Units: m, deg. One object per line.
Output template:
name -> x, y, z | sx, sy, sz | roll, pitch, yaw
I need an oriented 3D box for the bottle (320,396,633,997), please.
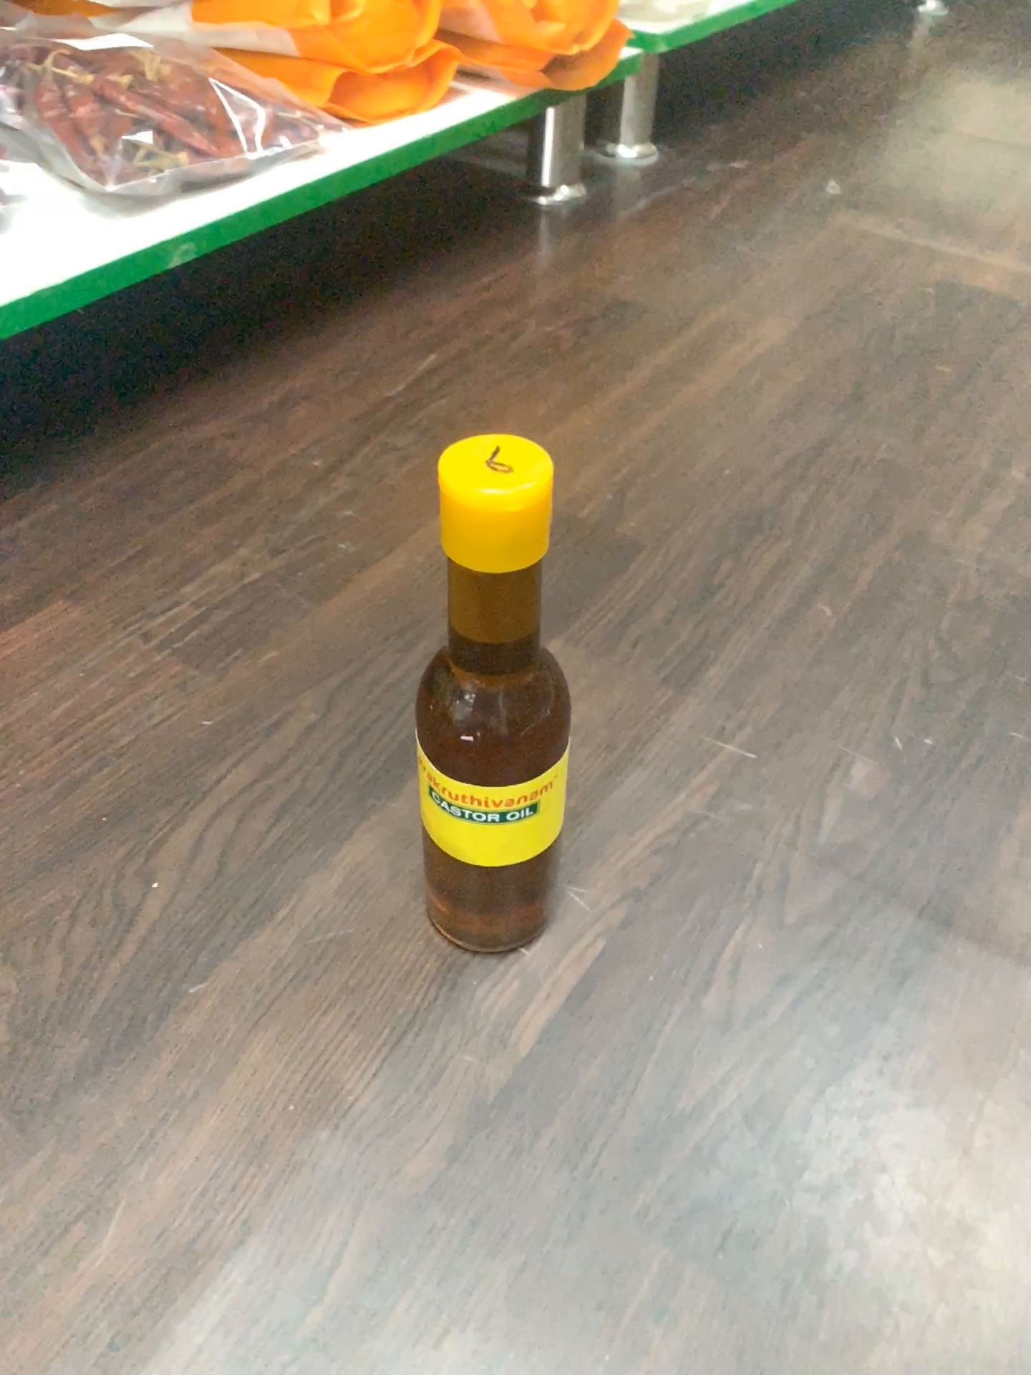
bottle -> -0.009, 0.011, 0.308 | 0.060, 0.169, 0.060 | 1, 43, -1
